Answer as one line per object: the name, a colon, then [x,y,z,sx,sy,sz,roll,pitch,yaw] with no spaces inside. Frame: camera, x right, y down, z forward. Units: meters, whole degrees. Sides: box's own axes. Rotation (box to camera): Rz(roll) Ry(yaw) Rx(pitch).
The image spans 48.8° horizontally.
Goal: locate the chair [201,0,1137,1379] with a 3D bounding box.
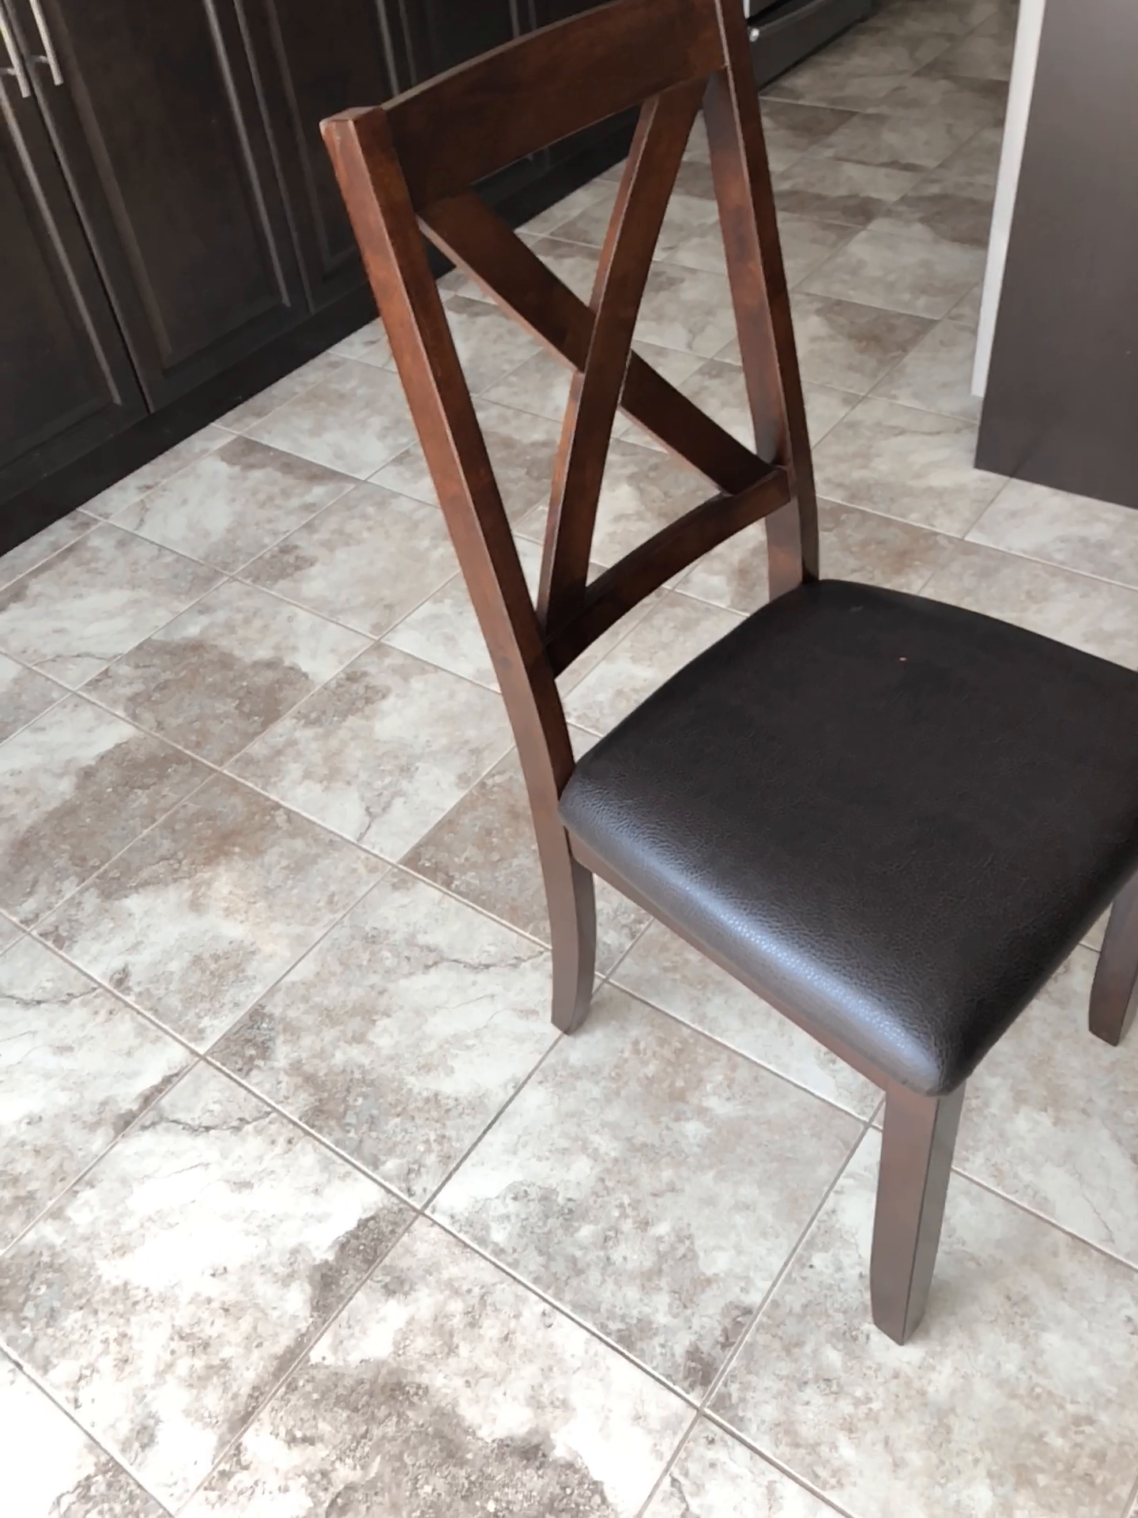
chair: [0.203,-0.065,1.028,0.601,0.937,0.481,32,56,33]
